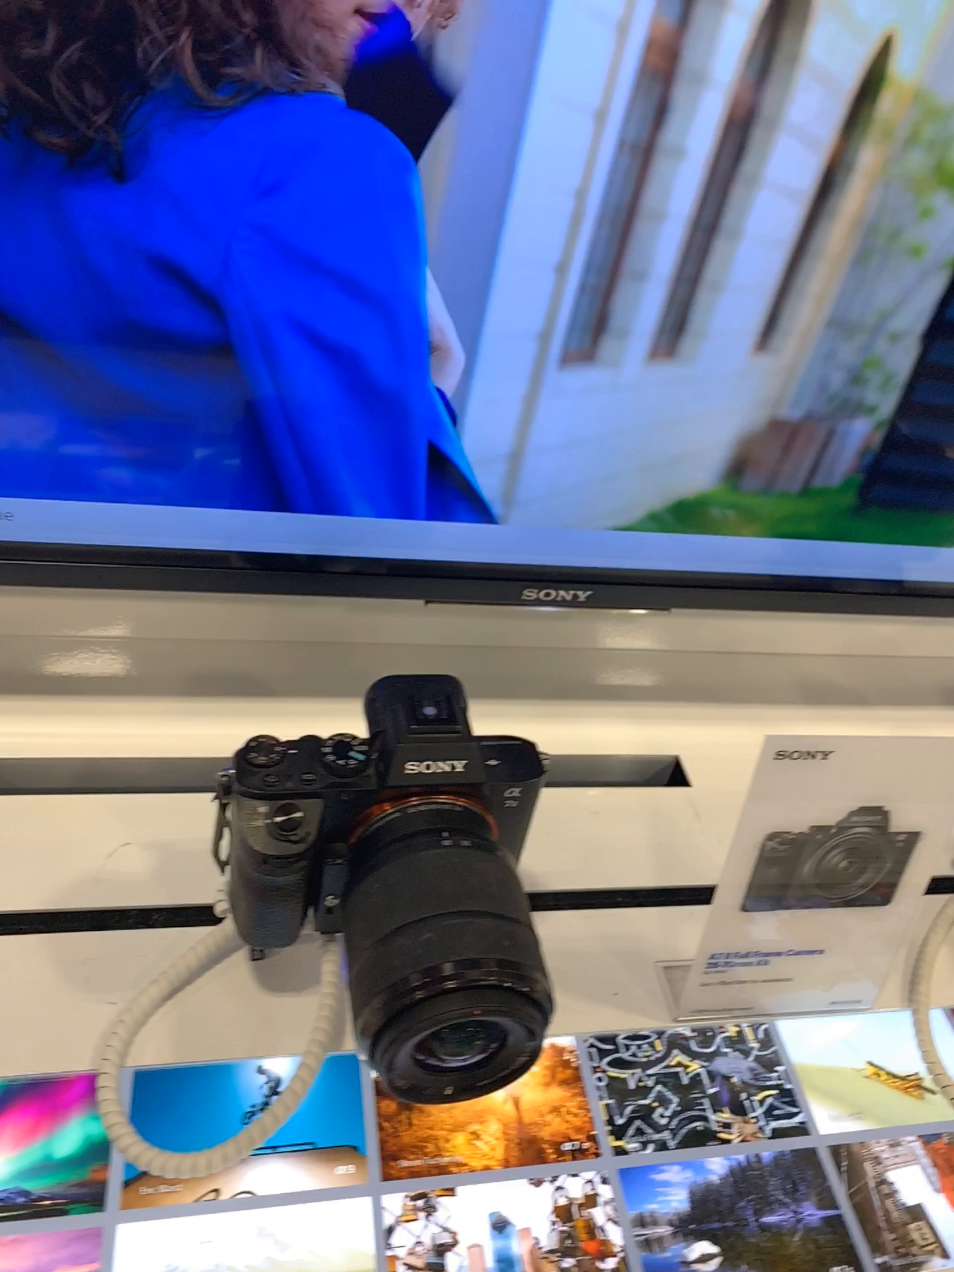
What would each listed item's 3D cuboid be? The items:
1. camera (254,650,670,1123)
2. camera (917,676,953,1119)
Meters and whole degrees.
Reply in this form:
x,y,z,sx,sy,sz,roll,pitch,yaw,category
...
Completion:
x,y,z,sx,sy,sz,roll,pitch,yaw,category
-0.020,0.086,0.382,0.128,0.084,0.151,0,40,-14,camera
0.347,0.118,0.489,0.140,0.099,0.181,0,40,-14,camera
